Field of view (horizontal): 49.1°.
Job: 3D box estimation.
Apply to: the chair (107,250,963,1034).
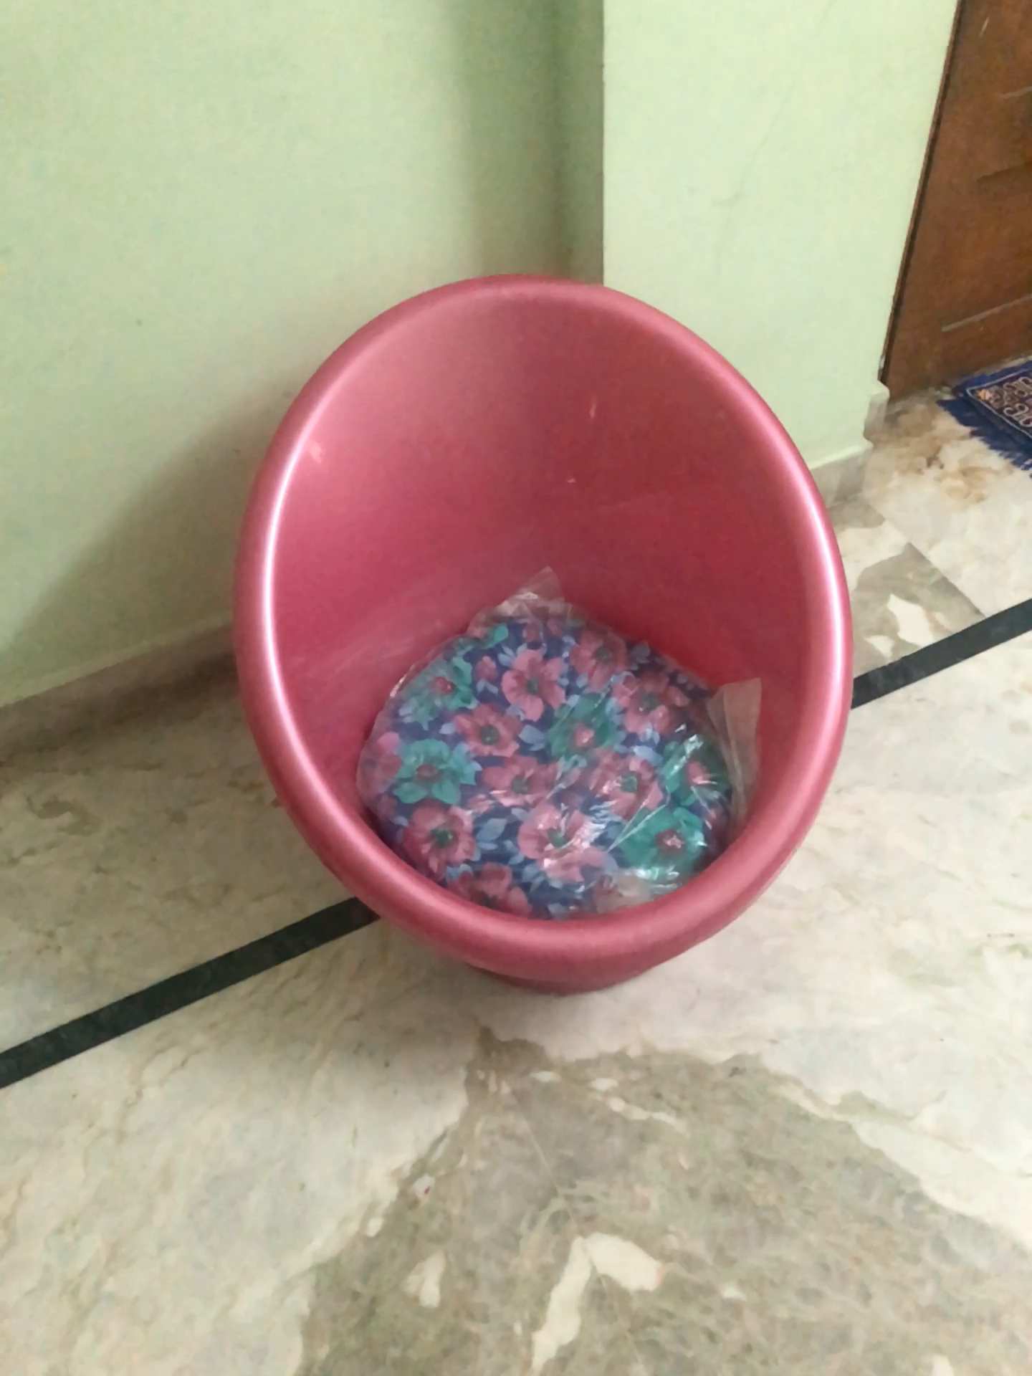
[{"bbox_3d":[0.028,-0.049,1.269,0.640,0.547,0.664,-2,49,3],"label":"chair"}]
